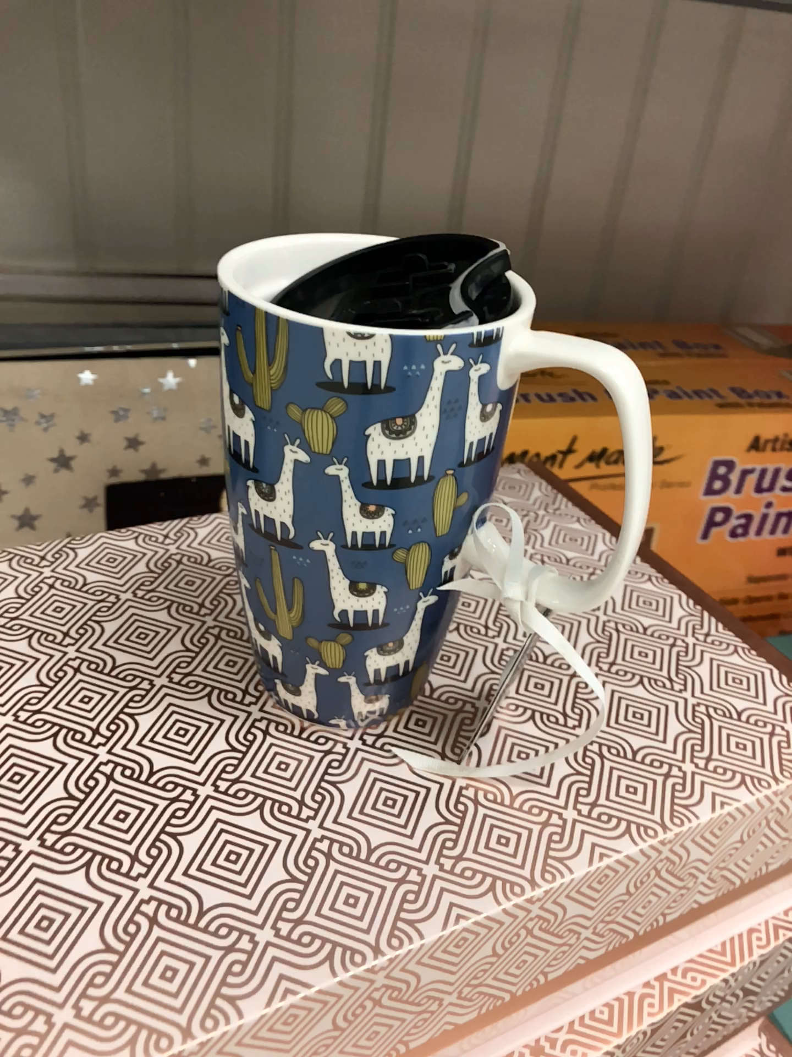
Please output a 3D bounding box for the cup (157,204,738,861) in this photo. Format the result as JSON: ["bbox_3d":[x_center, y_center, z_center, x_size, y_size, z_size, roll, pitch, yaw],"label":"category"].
[{"bbox_3d":[0.012,-0.006,0.261,0.125,0.138,0.090,18,33,18],"label":"cup"}]
